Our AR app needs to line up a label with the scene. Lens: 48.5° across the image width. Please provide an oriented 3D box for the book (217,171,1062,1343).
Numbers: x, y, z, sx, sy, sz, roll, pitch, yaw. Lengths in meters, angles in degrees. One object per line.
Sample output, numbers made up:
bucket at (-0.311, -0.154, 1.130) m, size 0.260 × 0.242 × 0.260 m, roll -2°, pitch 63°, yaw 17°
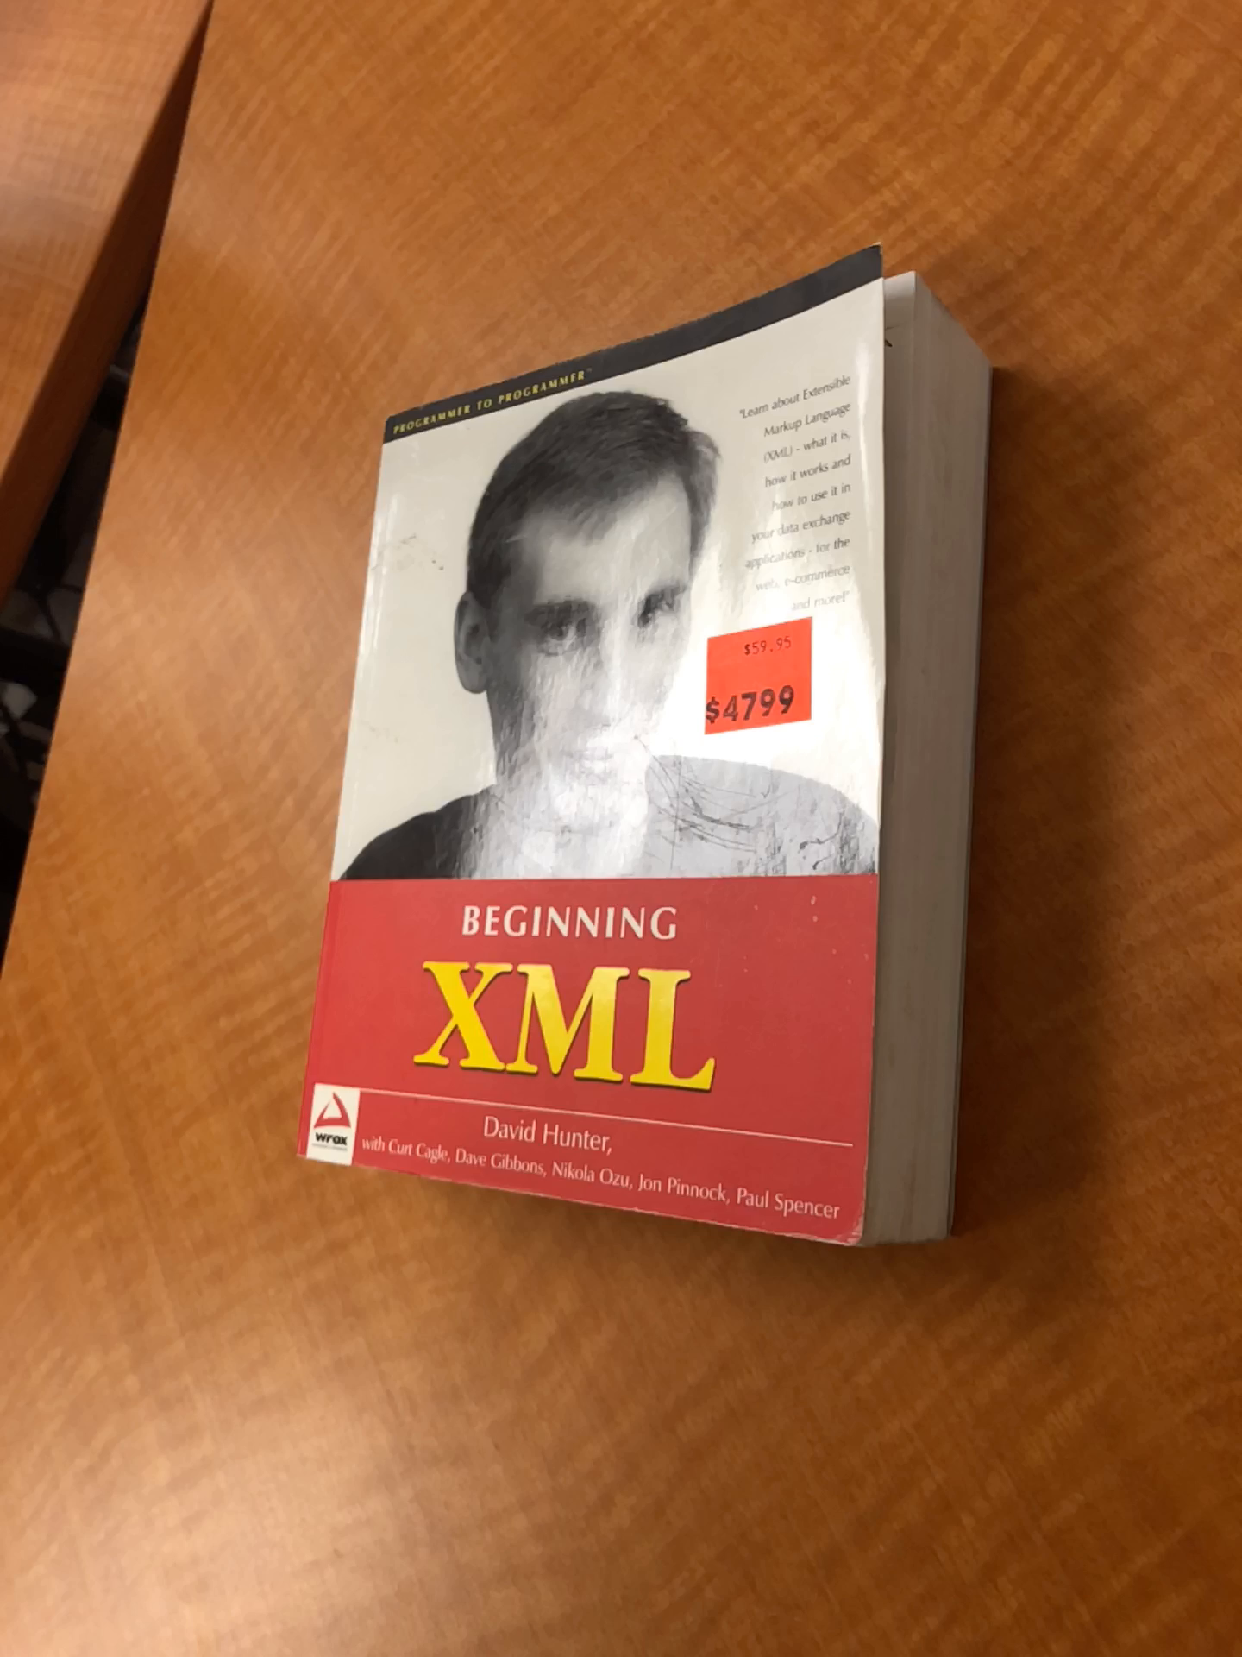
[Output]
book at (0.001, -0.017, 0.401) m, size 0.221 × 0.070 × 0.270 m, roll -1°, pitch 78°, yaw 36°
